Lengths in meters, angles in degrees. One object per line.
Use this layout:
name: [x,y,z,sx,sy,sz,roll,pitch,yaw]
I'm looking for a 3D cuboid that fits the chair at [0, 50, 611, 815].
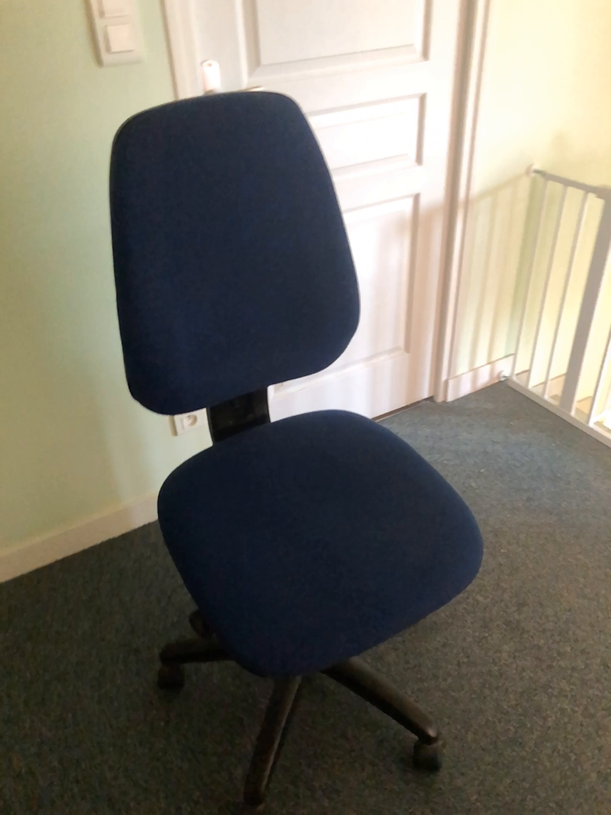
chair: [0.031,0.099,1.122,0.703,1.113,0.672,-21,40,-25]
